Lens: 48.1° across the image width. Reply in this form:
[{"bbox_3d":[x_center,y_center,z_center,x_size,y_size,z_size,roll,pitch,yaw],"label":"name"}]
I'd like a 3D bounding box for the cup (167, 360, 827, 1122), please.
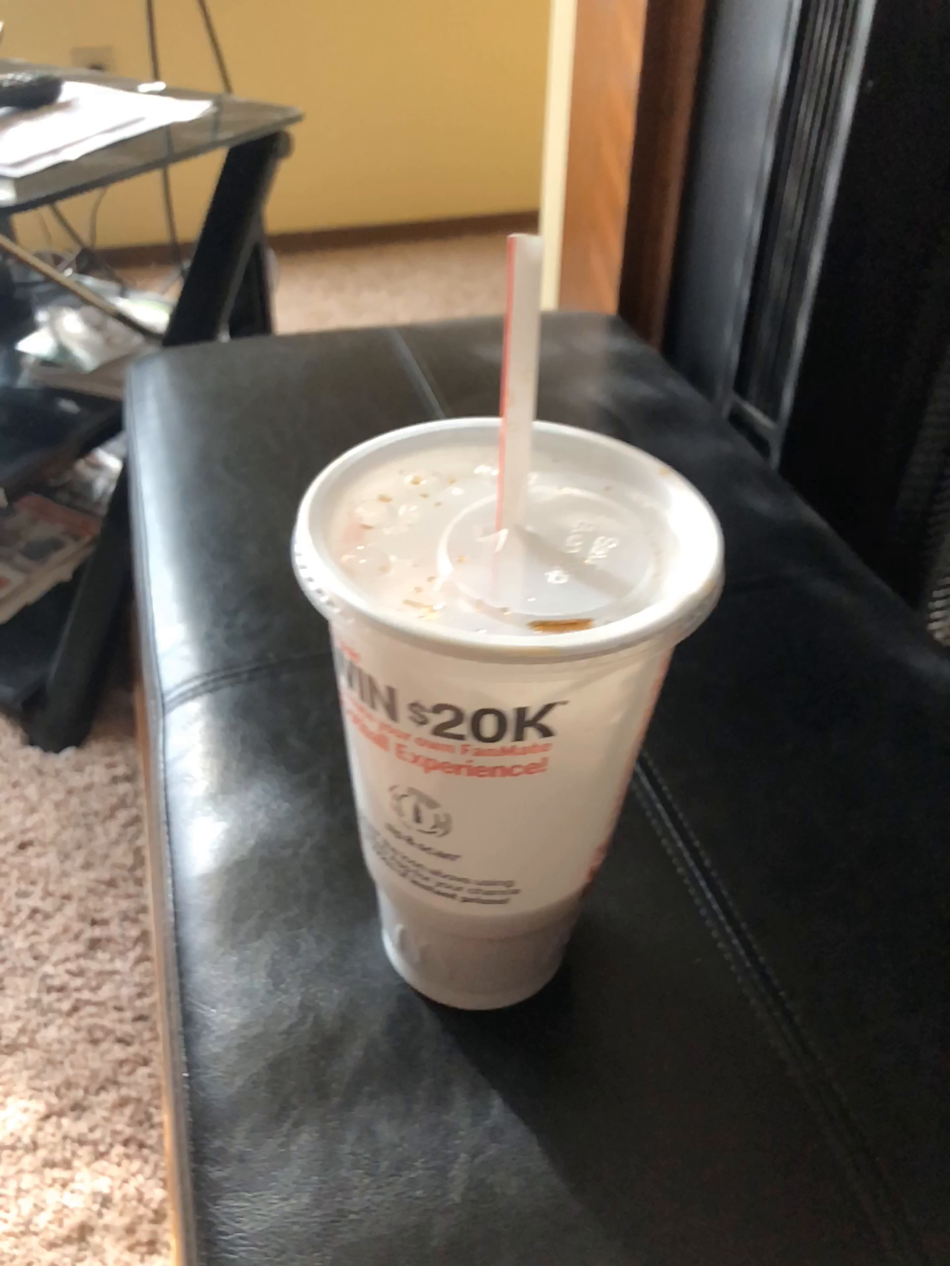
[{"bbox_3d":[0.006,0.026,0.309,0.120,0.150,0.110,1,39,-1],"label":"cup"}]
